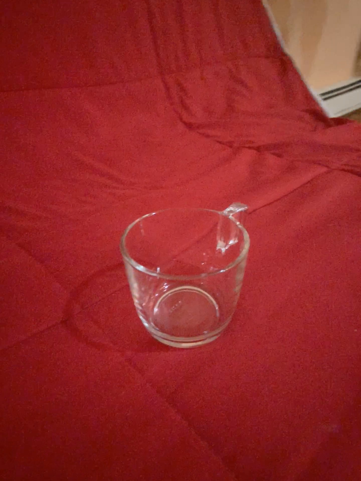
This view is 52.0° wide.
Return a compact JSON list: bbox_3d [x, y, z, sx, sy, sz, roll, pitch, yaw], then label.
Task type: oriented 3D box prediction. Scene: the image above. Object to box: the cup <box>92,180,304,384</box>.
[{"bbox_3d":[0.014,0.019,0.272,0.090,0.069,0.117,30,45,35],"label":"cup"}]
